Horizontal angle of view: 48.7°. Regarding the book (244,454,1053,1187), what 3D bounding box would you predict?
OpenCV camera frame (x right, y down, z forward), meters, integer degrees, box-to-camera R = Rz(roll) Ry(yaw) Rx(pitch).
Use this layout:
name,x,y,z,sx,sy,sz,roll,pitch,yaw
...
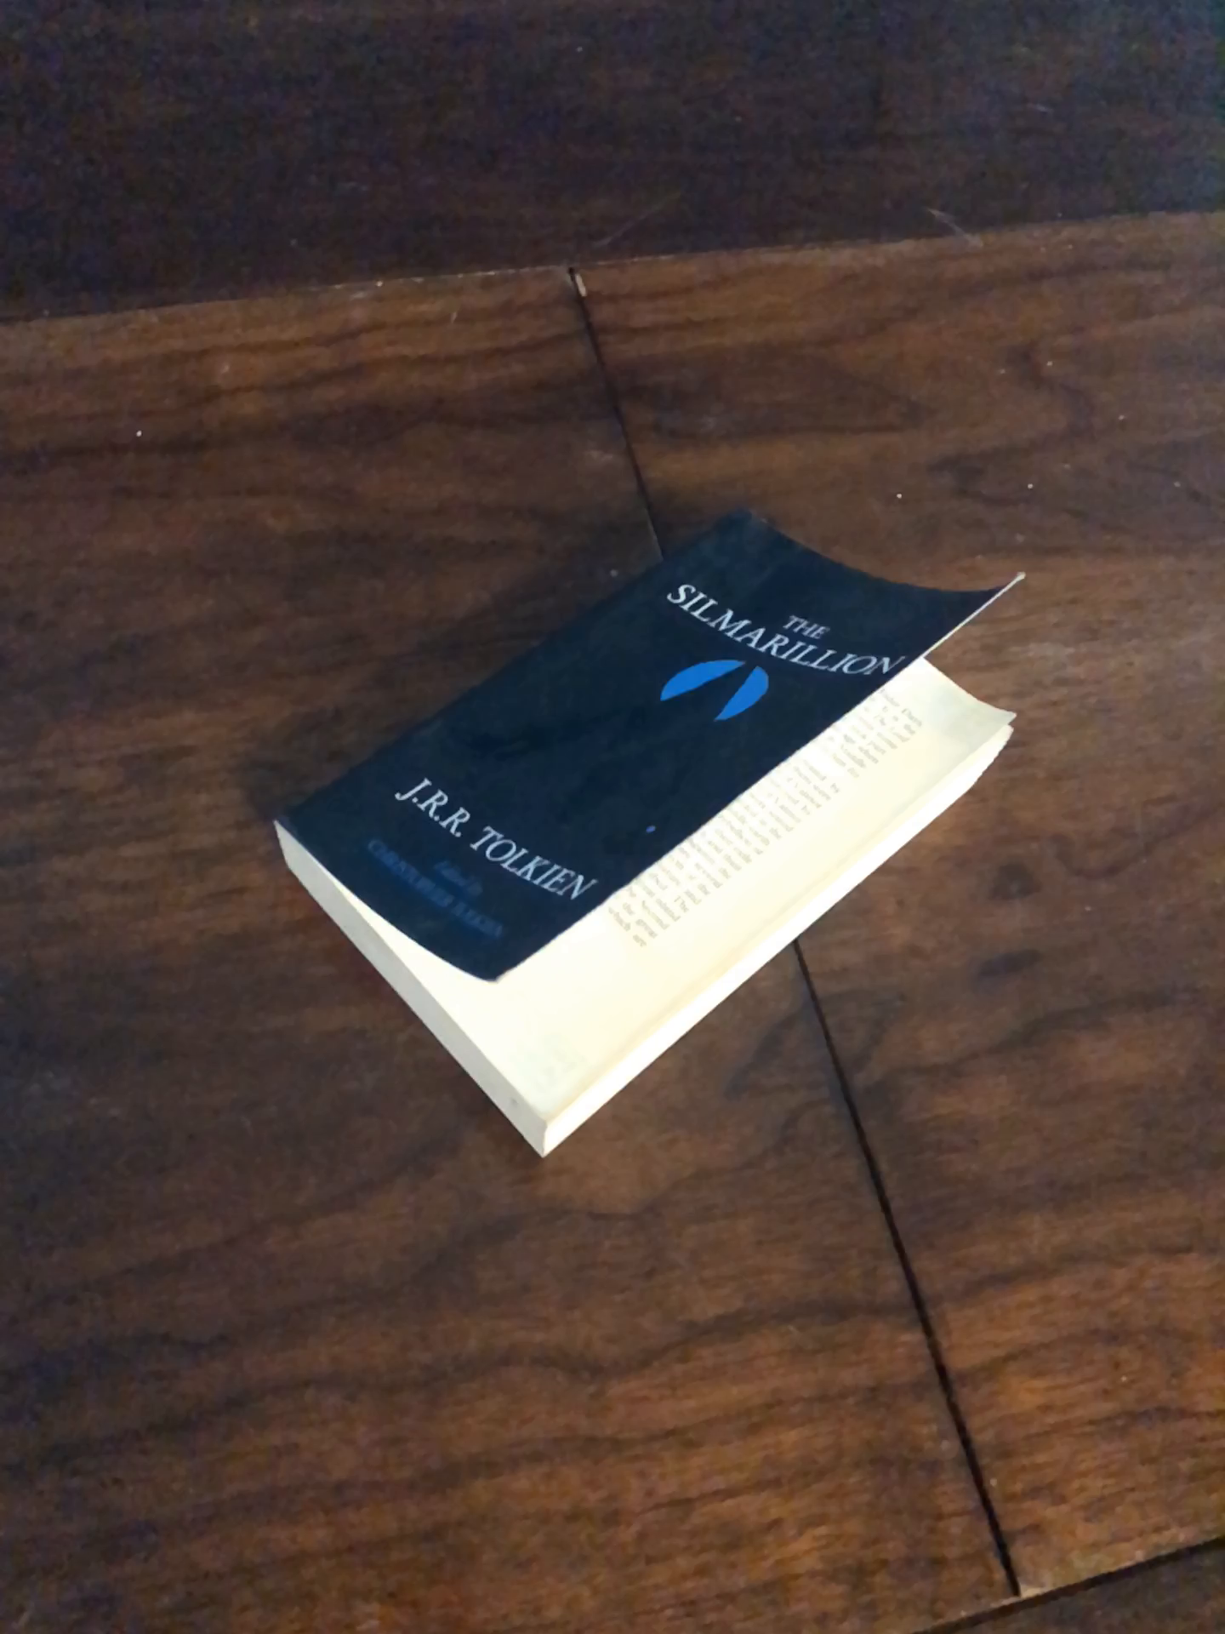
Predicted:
name,x,y,z,sx,sy,sz,roll,pitch,yaw
book,0.013,-0.009,0.371,0.180,0.040,0.119,-38,71,-23
